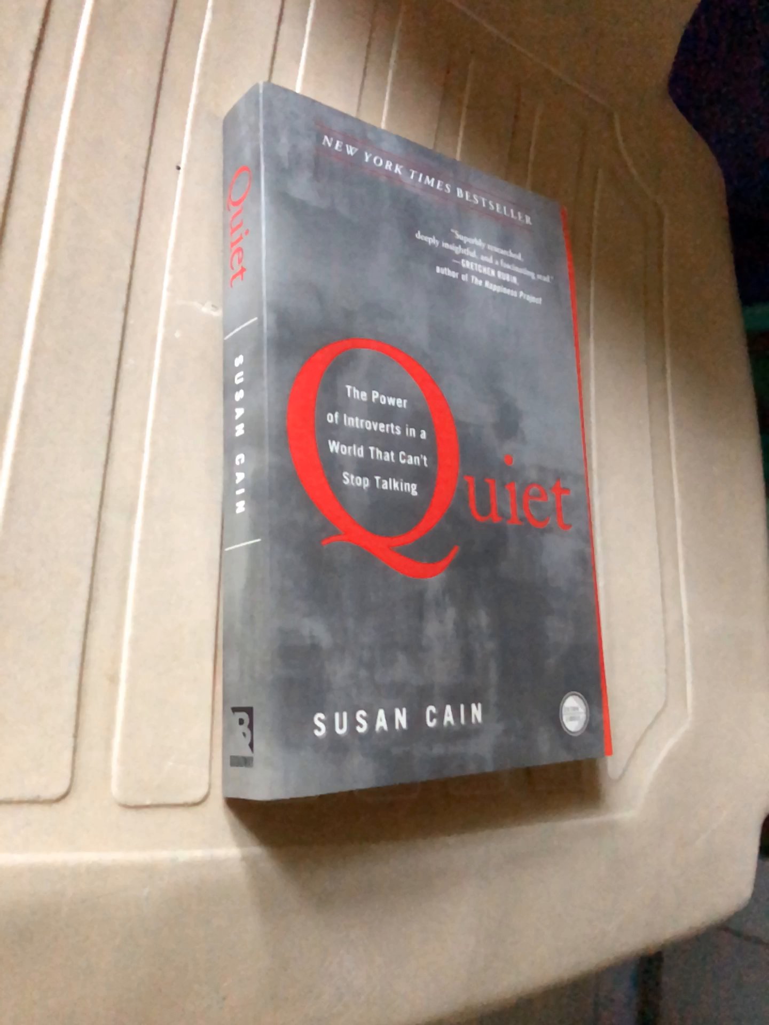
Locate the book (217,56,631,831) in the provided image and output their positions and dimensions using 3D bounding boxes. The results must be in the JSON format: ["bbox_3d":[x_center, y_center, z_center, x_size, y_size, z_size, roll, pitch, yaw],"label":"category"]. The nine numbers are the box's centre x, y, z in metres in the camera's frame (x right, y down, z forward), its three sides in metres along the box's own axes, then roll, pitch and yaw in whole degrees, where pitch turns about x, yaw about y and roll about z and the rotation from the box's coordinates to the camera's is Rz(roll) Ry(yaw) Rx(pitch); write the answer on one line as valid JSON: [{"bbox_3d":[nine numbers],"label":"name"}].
[{"bbox_3d":[0.015,-0.017,0.265,0.131,0.030,0.200,6,77,-37],"label":"book"}]
